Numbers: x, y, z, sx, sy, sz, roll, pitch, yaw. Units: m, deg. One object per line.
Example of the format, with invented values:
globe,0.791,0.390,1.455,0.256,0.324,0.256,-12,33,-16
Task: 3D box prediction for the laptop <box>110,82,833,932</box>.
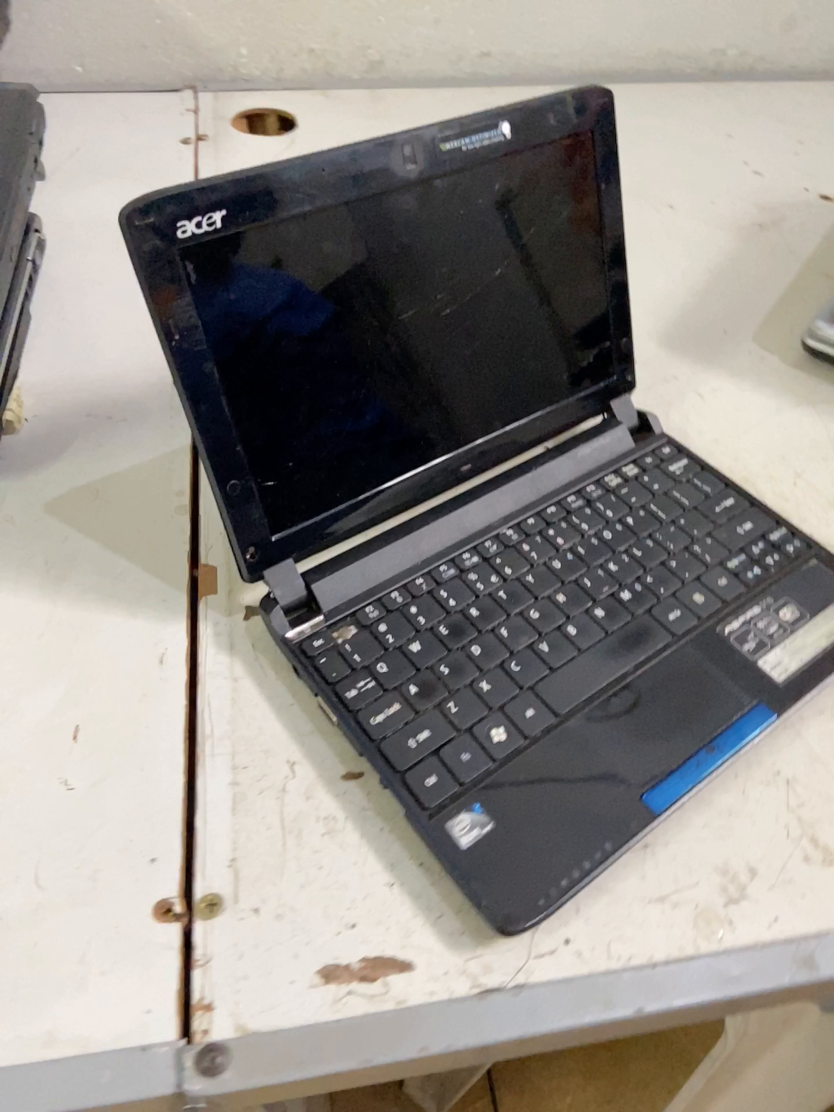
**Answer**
laptop,0.060,-0.053,0.364,0.253,0.144,0.260,-27,57,-25
